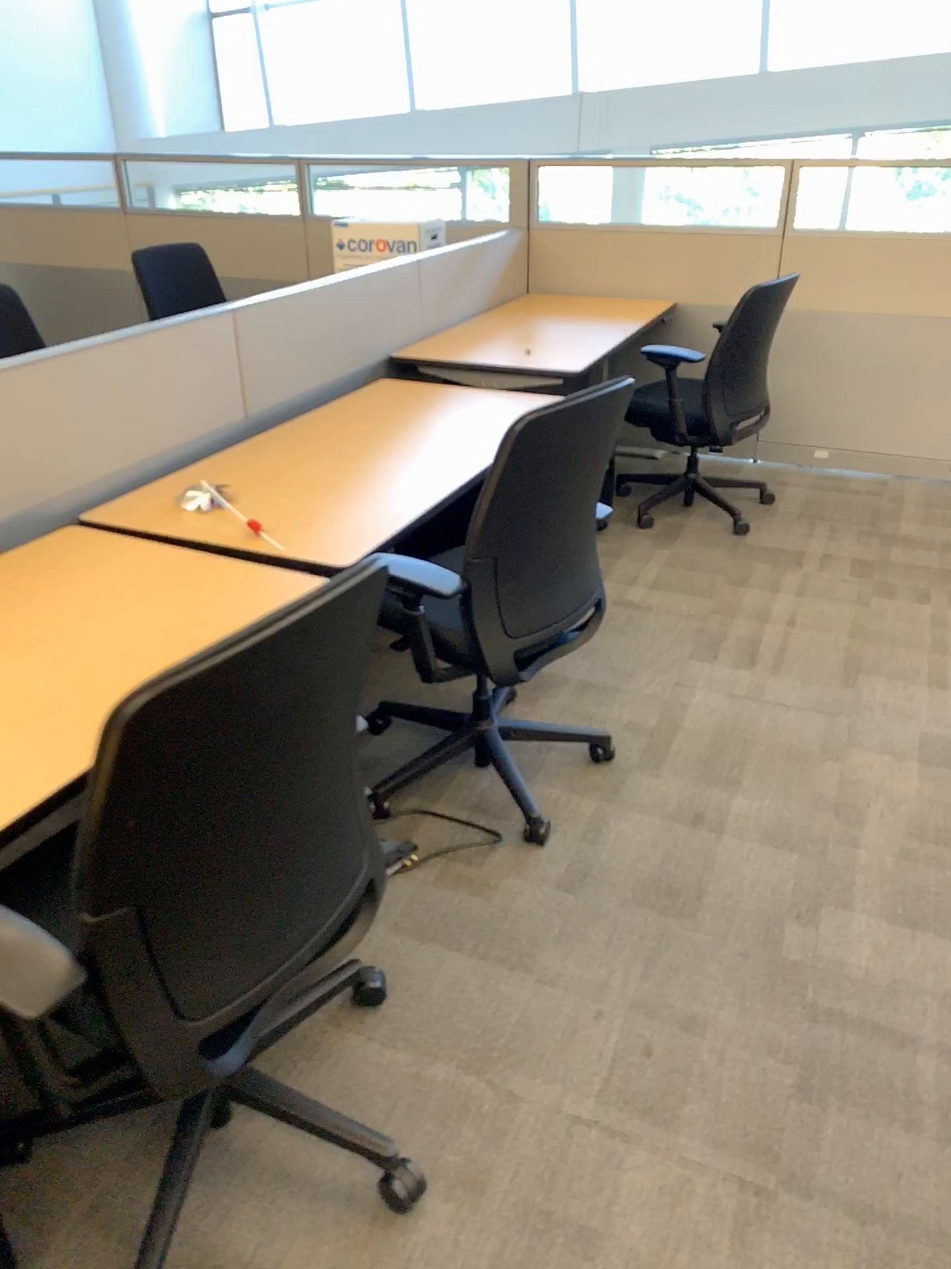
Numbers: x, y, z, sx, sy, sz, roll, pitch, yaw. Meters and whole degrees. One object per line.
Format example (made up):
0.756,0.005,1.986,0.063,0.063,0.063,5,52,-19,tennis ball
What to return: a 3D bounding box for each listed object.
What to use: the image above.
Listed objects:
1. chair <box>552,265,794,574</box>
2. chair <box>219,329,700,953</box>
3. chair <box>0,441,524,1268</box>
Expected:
0.928,-1.083,4.685,0.751,1.233,0.763,-23,35,-36,chair
-0.036,-0.049,2.392,0.751,1.183,0.763,-23,35,-36,chair
-0.438,0.378,1.749,0.762,1.183,0.752,17,32,30,chair
